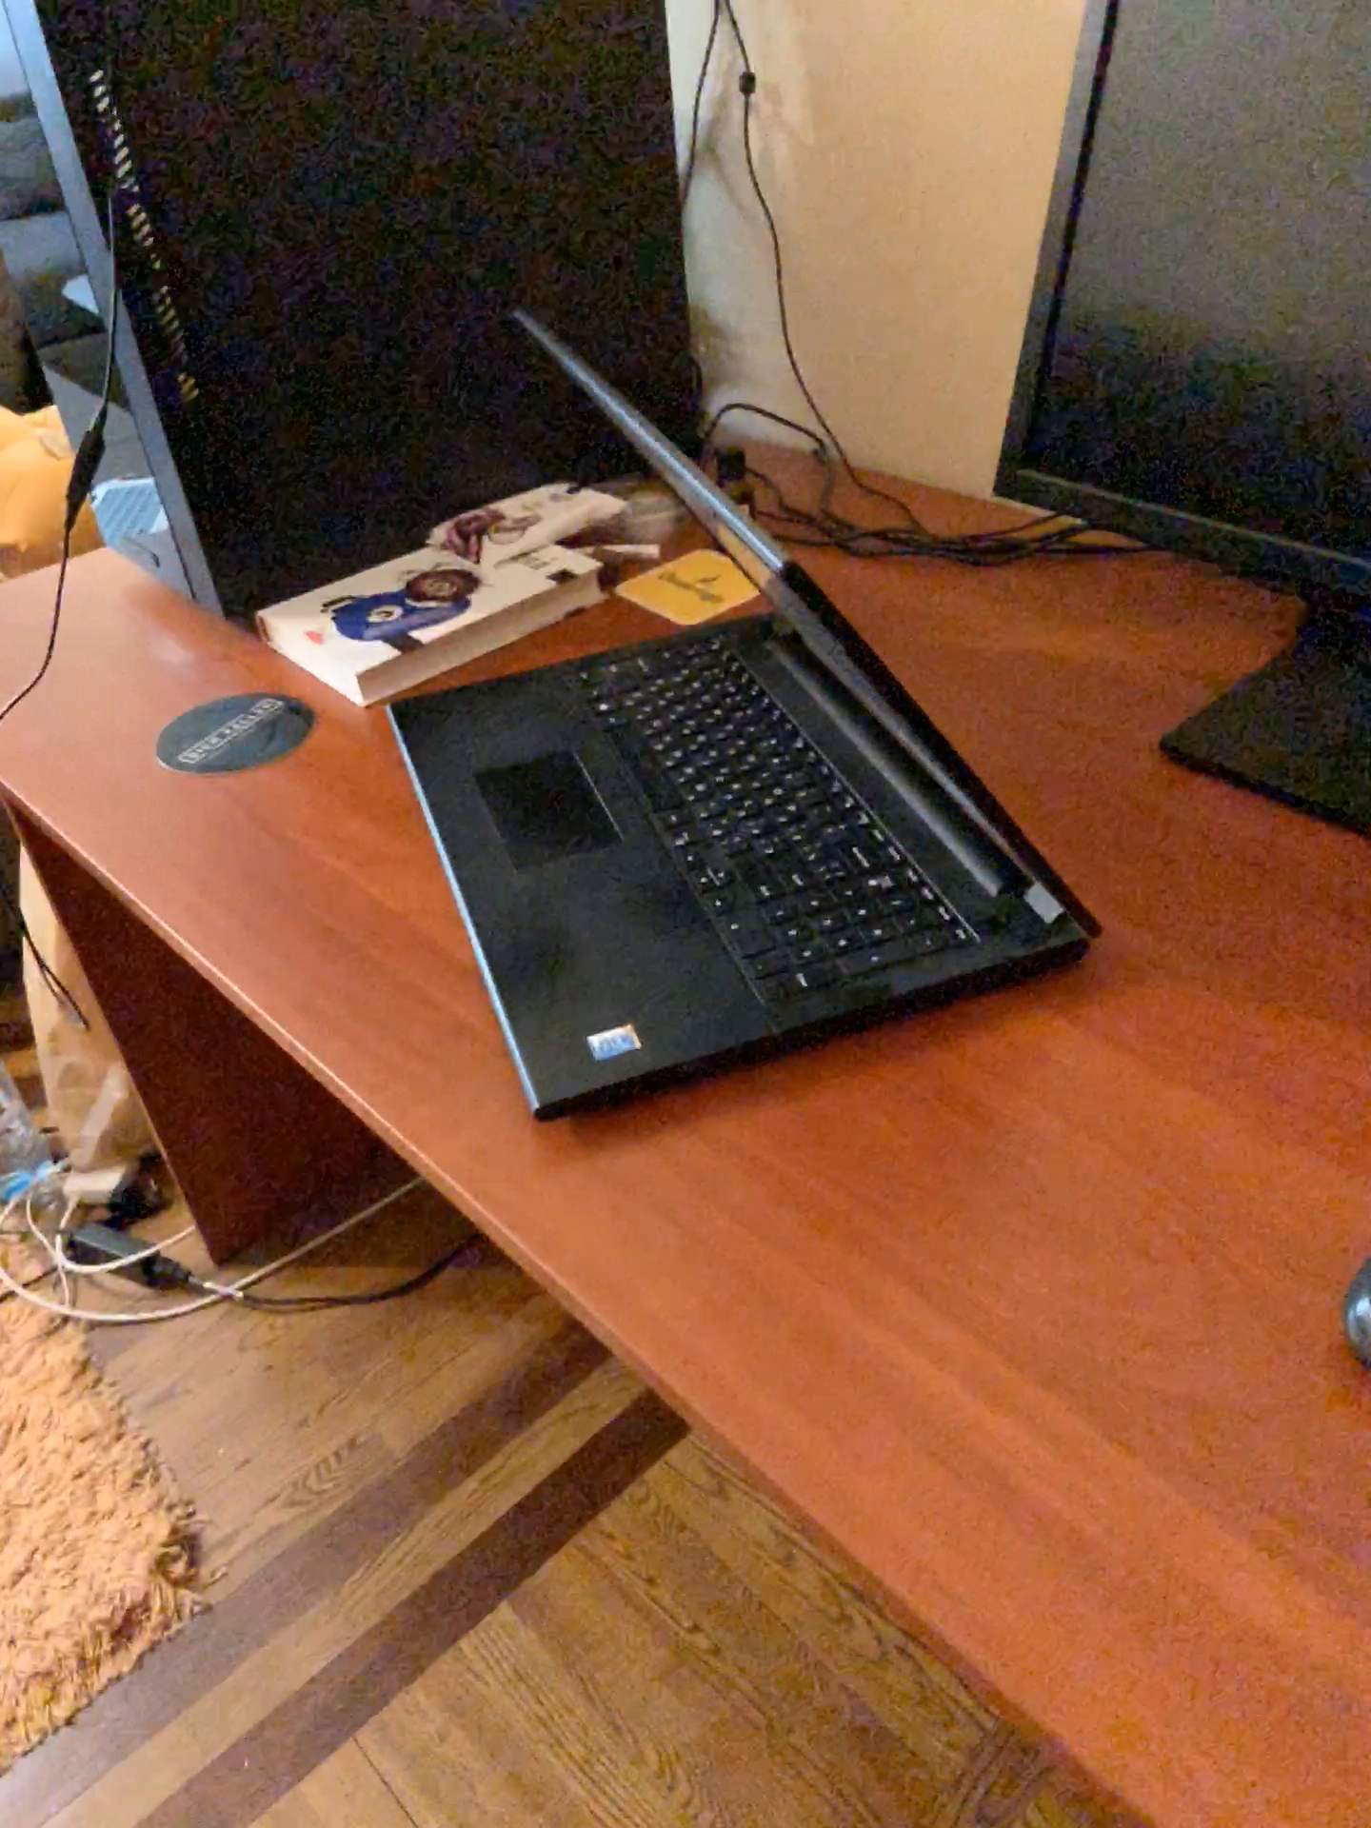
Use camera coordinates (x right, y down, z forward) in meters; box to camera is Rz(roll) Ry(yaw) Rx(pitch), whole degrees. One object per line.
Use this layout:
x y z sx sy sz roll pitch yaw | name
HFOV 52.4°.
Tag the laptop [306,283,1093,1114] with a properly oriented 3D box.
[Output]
-0.019 -0.138 0.692 0.245 0.202 0.376 -17 39 -11 | laptop
